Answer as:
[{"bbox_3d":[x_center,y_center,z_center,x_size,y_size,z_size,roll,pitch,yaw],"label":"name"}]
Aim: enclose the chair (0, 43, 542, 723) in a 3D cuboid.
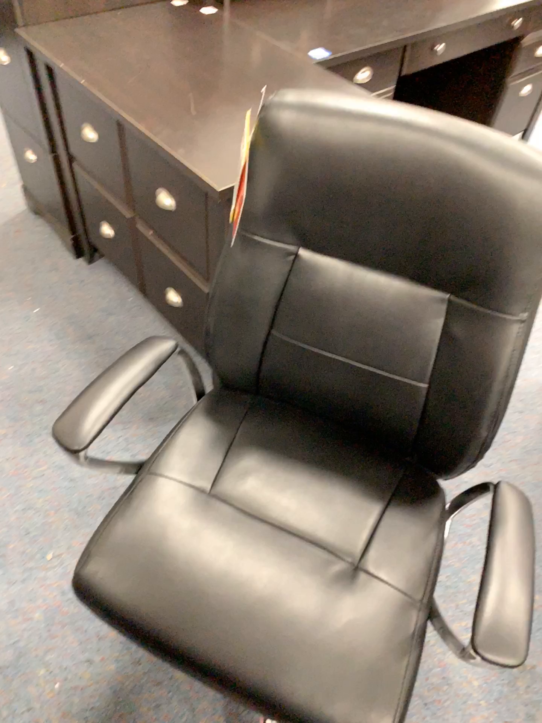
[{"bbox_3d":[0.055,0.208,0.902,0.664,0.997,0.720,21,51,13],"label":"chair"}]
